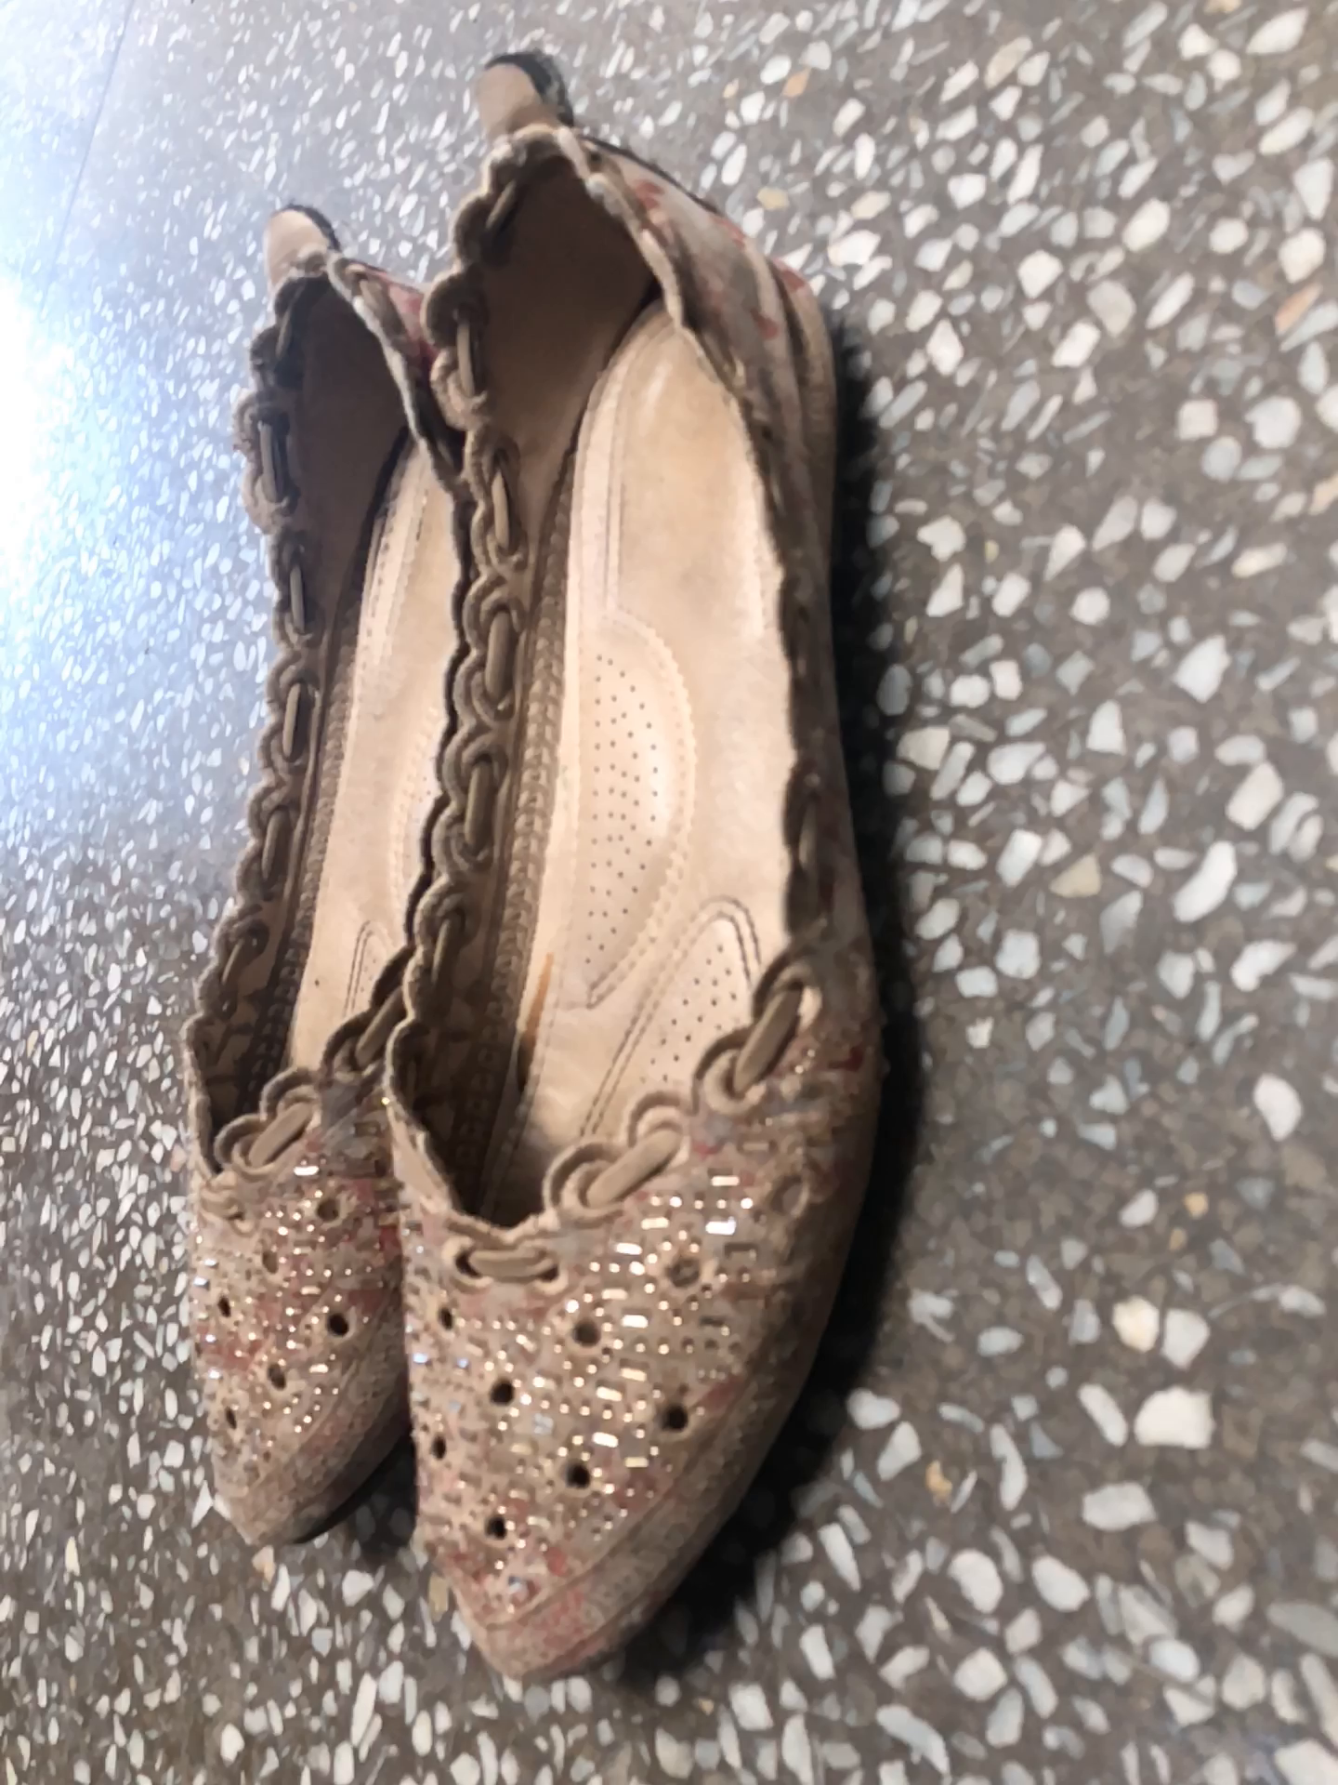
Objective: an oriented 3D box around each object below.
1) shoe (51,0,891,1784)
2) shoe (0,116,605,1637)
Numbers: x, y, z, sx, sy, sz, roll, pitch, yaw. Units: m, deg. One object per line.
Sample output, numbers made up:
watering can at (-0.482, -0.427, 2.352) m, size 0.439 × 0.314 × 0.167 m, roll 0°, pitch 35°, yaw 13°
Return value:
shoe at (-0.025, -0.008, 0.236) m, size 0.090 × 0.068 × 0.254 m, roll -9°, pitch 72°, yaw 43°
shoe at (-0.083, -0.005, 0.296) m, size 0.090 × 0.068 × 0.254 m, roll -4°, pitch 75°, yaw 44°
